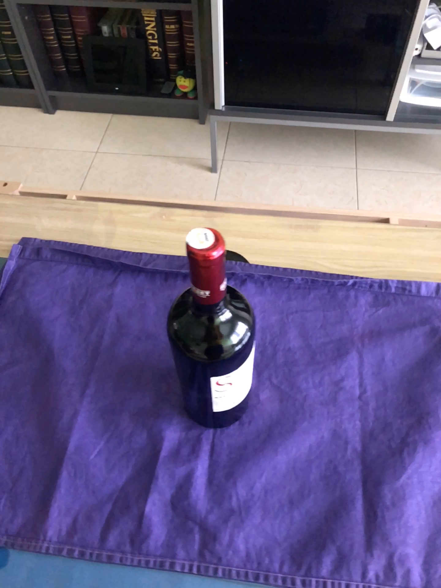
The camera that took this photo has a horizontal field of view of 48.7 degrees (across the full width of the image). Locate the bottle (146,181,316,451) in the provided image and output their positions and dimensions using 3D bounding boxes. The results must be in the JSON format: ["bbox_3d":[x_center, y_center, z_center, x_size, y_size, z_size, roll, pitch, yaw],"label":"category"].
[{"bbox_3d":[0.013,0.040,0.442,0.090,0.269,0.090,-1,54,1],"label":"bottle"}]
